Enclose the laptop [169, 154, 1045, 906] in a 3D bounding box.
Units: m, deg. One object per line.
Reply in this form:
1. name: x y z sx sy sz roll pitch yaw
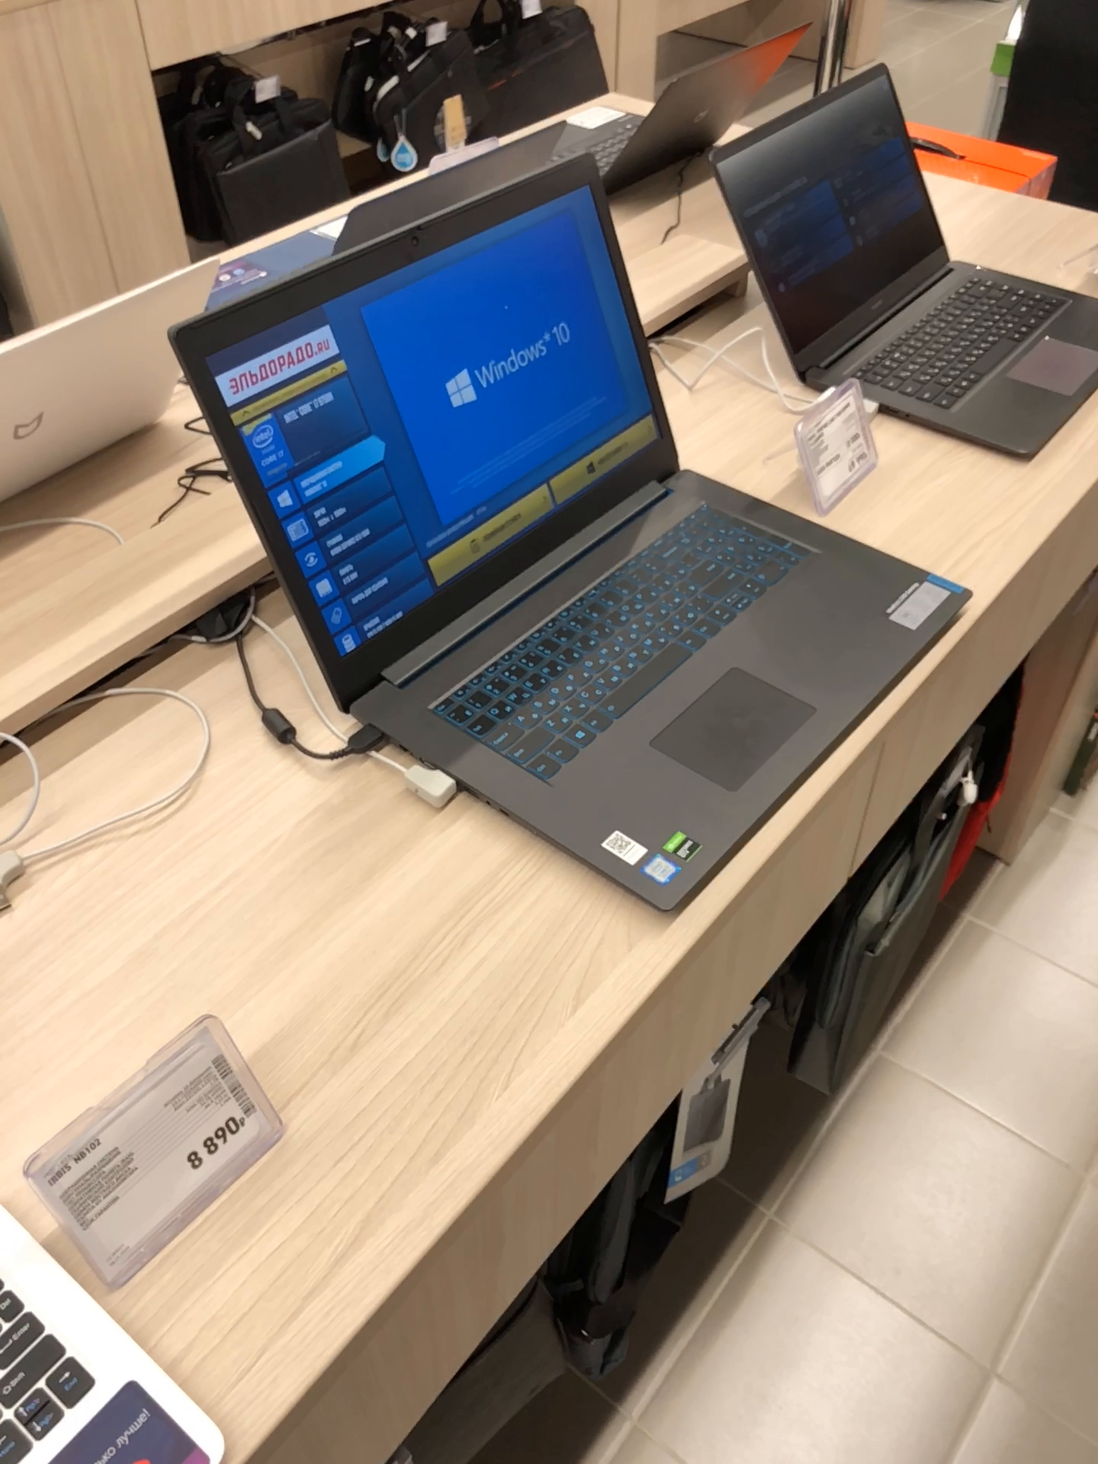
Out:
1. laptop: 0.045 -0.175 0.832 0.381 0.242 0.396 30 51 27
